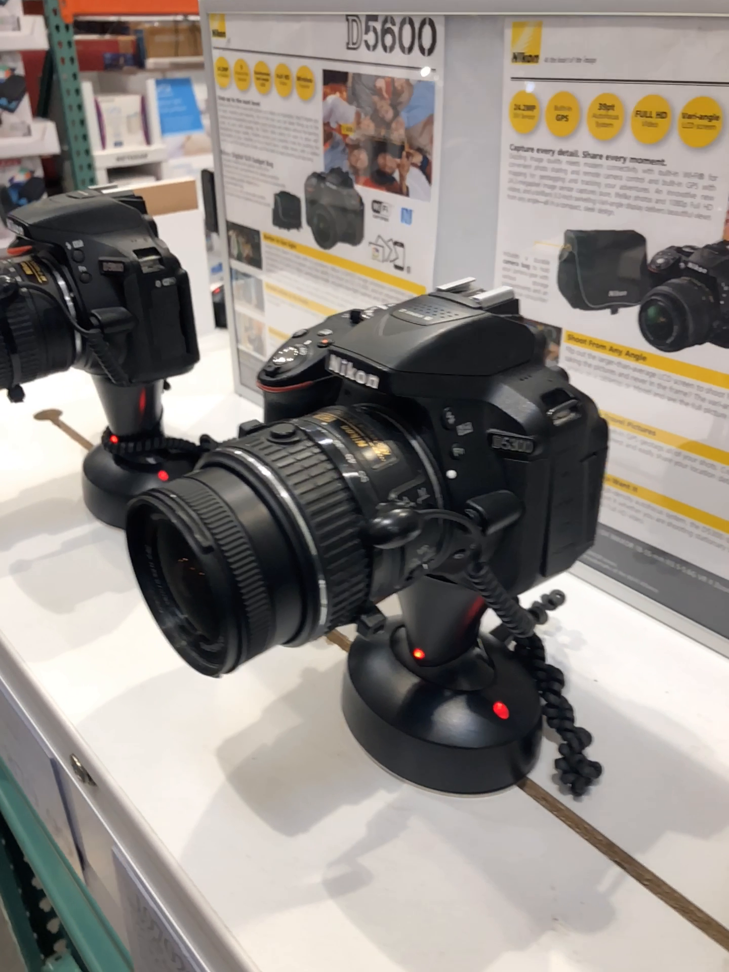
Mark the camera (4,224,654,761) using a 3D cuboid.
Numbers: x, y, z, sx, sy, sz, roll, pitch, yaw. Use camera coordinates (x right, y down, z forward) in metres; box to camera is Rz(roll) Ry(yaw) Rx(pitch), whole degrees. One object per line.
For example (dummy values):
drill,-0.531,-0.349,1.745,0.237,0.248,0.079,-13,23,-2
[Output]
camera,-0.009,-0.019,0.269,0.150,0.089,0.131,-25,38,-36
